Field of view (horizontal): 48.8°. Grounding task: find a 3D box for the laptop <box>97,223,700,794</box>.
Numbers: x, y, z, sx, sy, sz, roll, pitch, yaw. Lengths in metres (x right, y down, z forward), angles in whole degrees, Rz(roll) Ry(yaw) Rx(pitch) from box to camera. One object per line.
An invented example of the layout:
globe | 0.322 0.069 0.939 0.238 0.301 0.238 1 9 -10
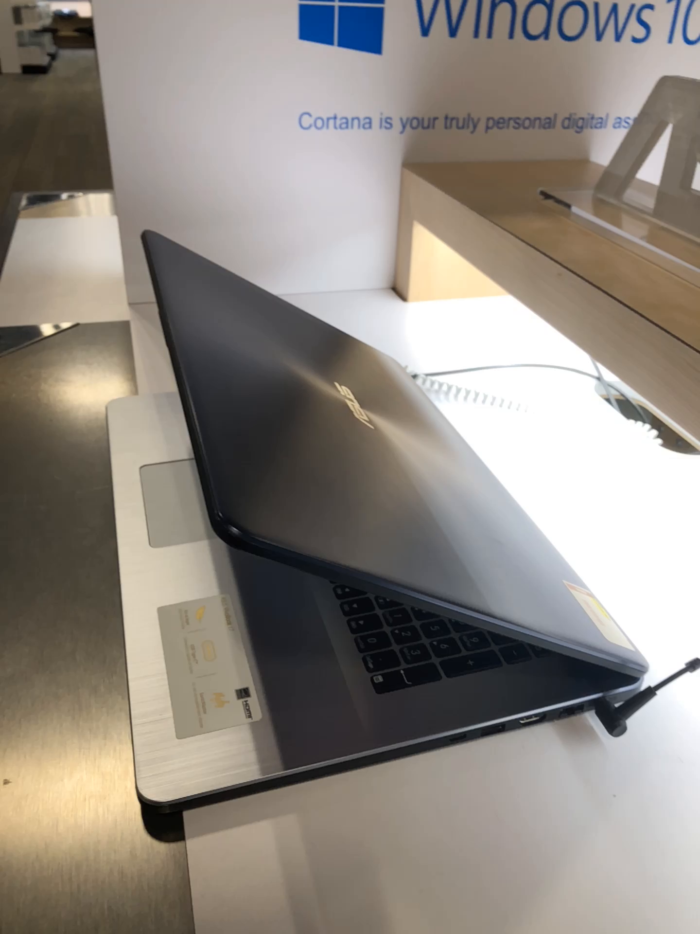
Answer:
laptop | -0.019 -0.030 0.508 0.259 0.144 0.393 -8 33 -14
